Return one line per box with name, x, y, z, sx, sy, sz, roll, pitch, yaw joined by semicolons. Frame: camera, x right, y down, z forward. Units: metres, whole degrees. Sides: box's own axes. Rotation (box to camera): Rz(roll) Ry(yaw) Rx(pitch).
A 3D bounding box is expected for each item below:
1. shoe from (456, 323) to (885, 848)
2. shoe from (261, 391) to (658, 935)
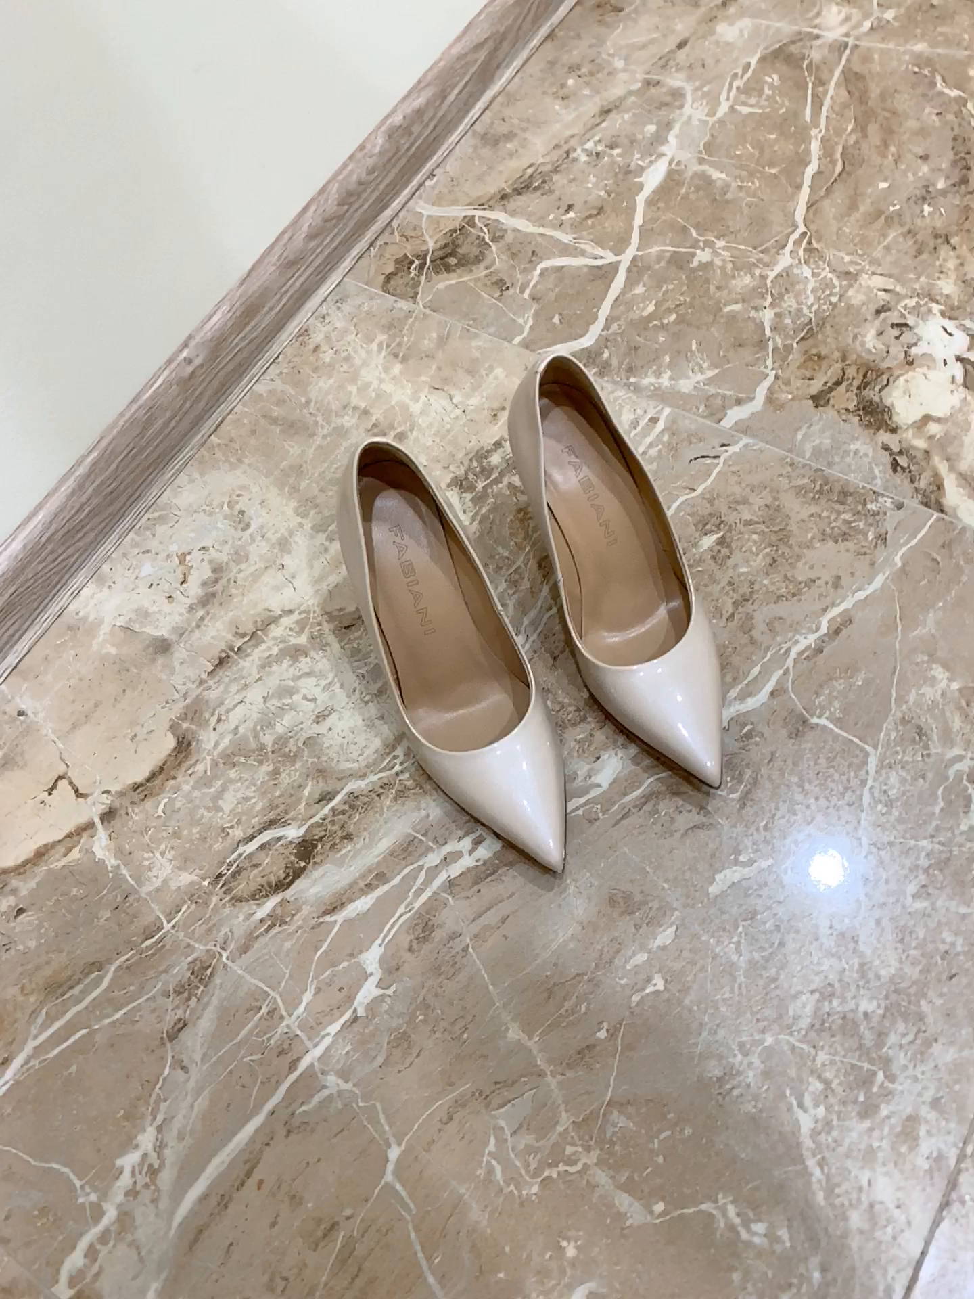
shoe;0.083;-0.036;0.522;0.090;0.110;0.241;-26;64;-6
shoe;-0.016;0.006;0.514;0.090;0.120;0.241;-26;64;-6
